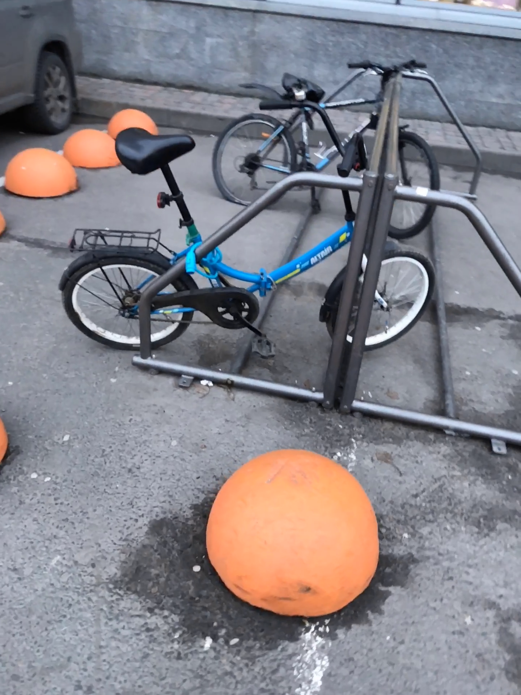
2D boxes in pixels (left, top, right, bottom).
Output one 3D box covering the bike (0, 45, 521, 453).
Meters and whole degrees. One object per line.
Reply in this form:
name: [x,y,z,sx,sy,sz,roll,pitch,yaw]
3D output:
bike: [0.005,-0.348,1.912,1.420,0.991,0.727,-4,33,-3]
